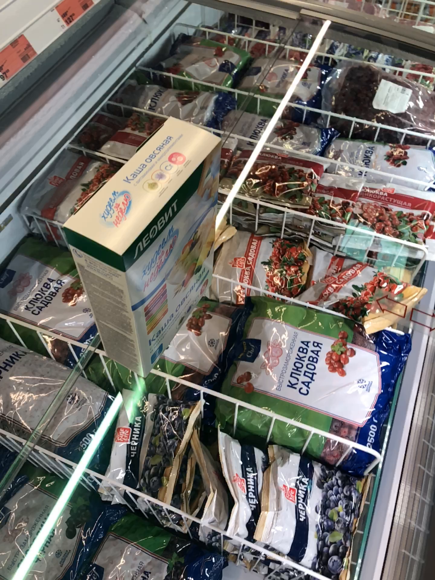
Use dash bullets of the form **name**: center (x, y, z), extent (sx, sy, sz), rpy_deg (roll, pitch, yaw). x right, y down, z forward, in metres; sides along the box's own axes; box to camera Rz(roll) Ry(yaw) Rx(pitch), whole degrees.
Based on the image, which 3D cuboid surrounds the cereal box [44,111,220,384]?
- **cereal box**: center (-0.066, -0.027, 0.467), extent (0.060, 0.229, 0.151), rpy_deg (27, 60, 13)
